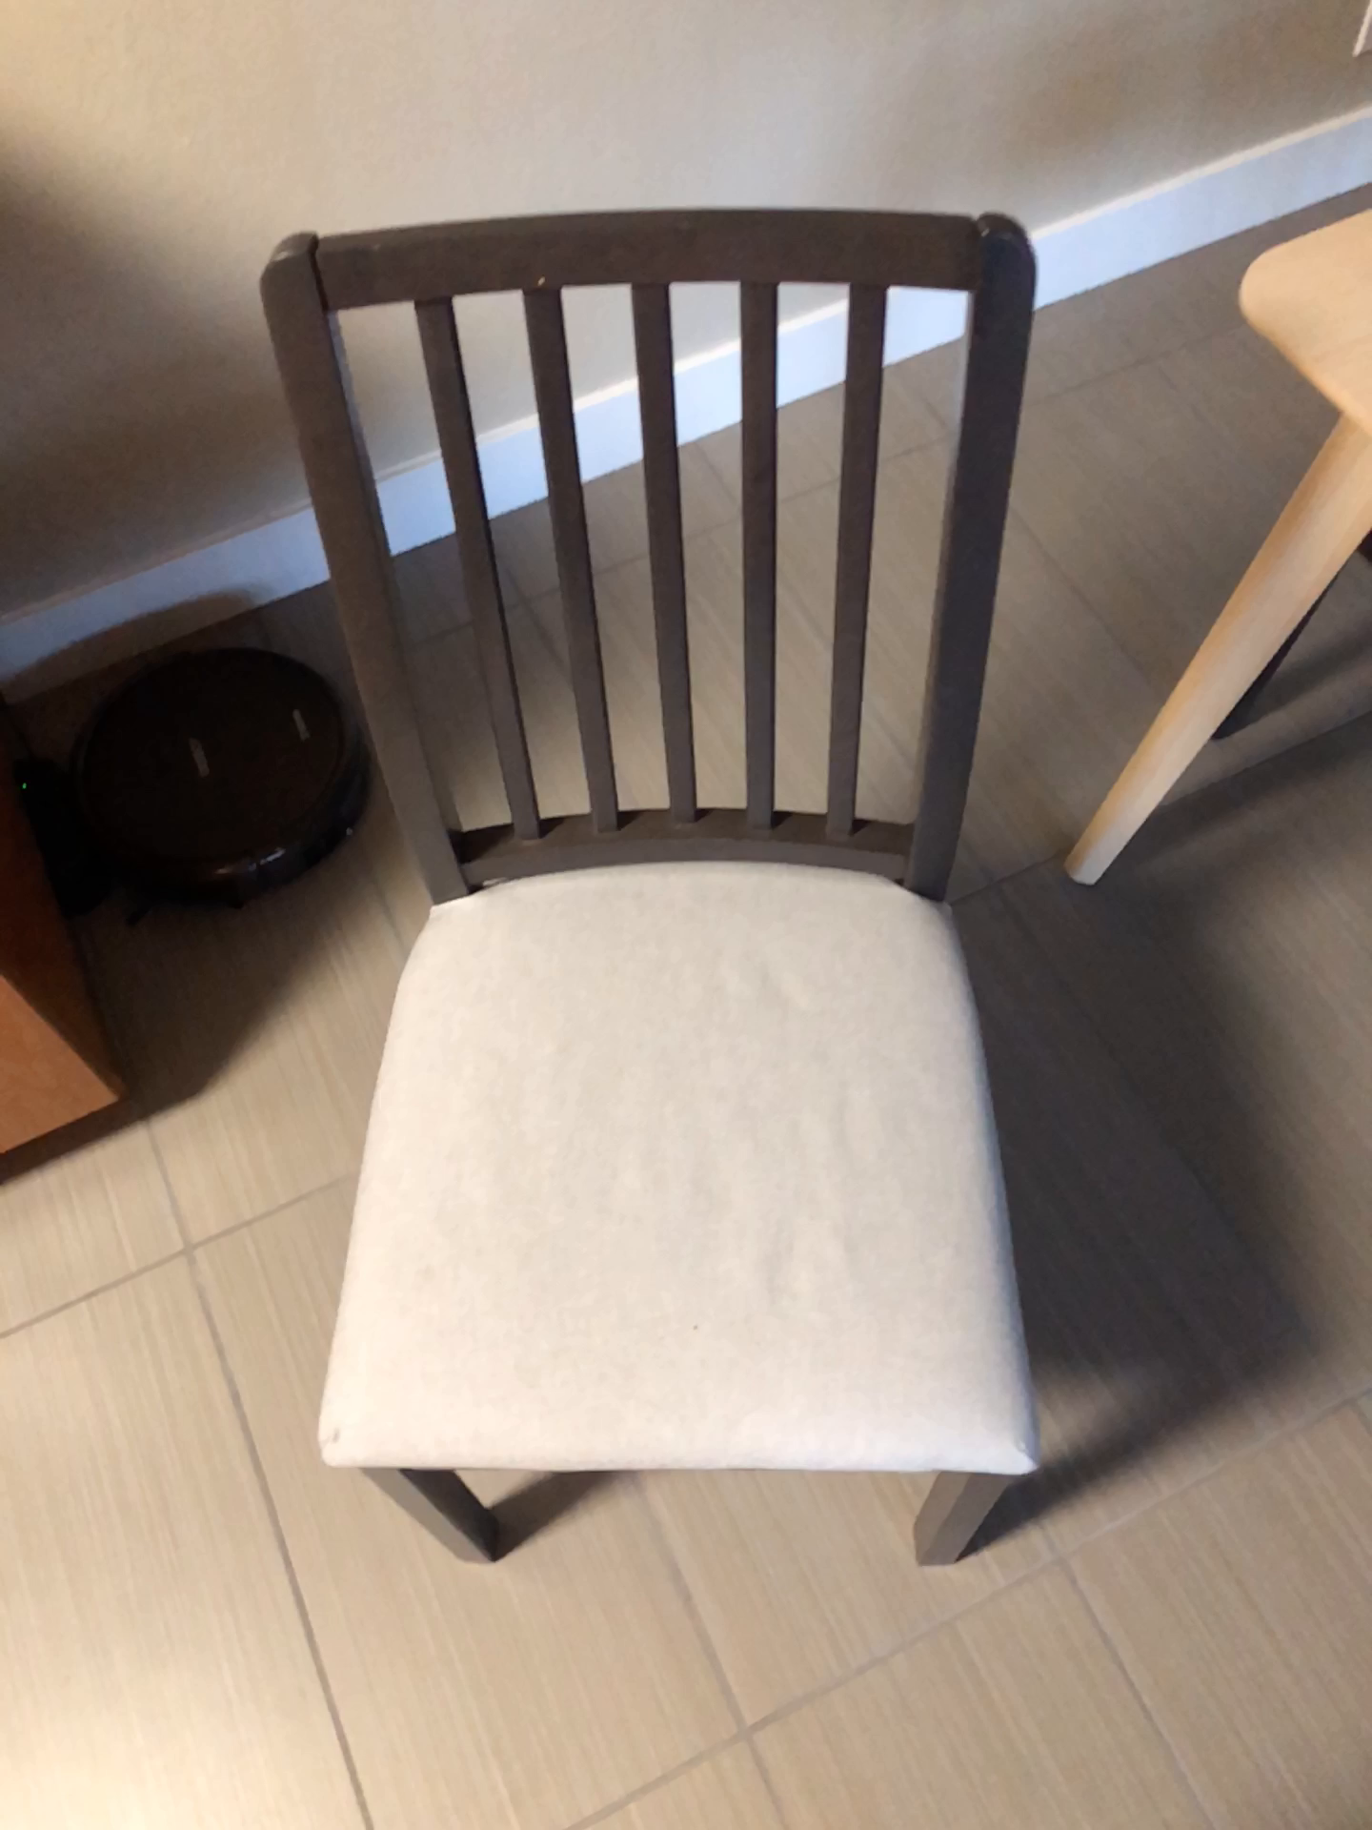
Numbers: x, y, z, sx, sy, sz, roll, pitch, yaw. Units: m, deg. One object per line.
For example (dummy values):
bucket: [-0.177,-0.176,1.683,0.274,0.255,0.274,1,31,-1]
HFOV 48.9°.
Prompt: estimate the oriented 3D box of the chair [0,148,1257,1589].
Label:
chair: [-0.013,0.125,1.109,0.480,1.127,0.511,3,59,5]
